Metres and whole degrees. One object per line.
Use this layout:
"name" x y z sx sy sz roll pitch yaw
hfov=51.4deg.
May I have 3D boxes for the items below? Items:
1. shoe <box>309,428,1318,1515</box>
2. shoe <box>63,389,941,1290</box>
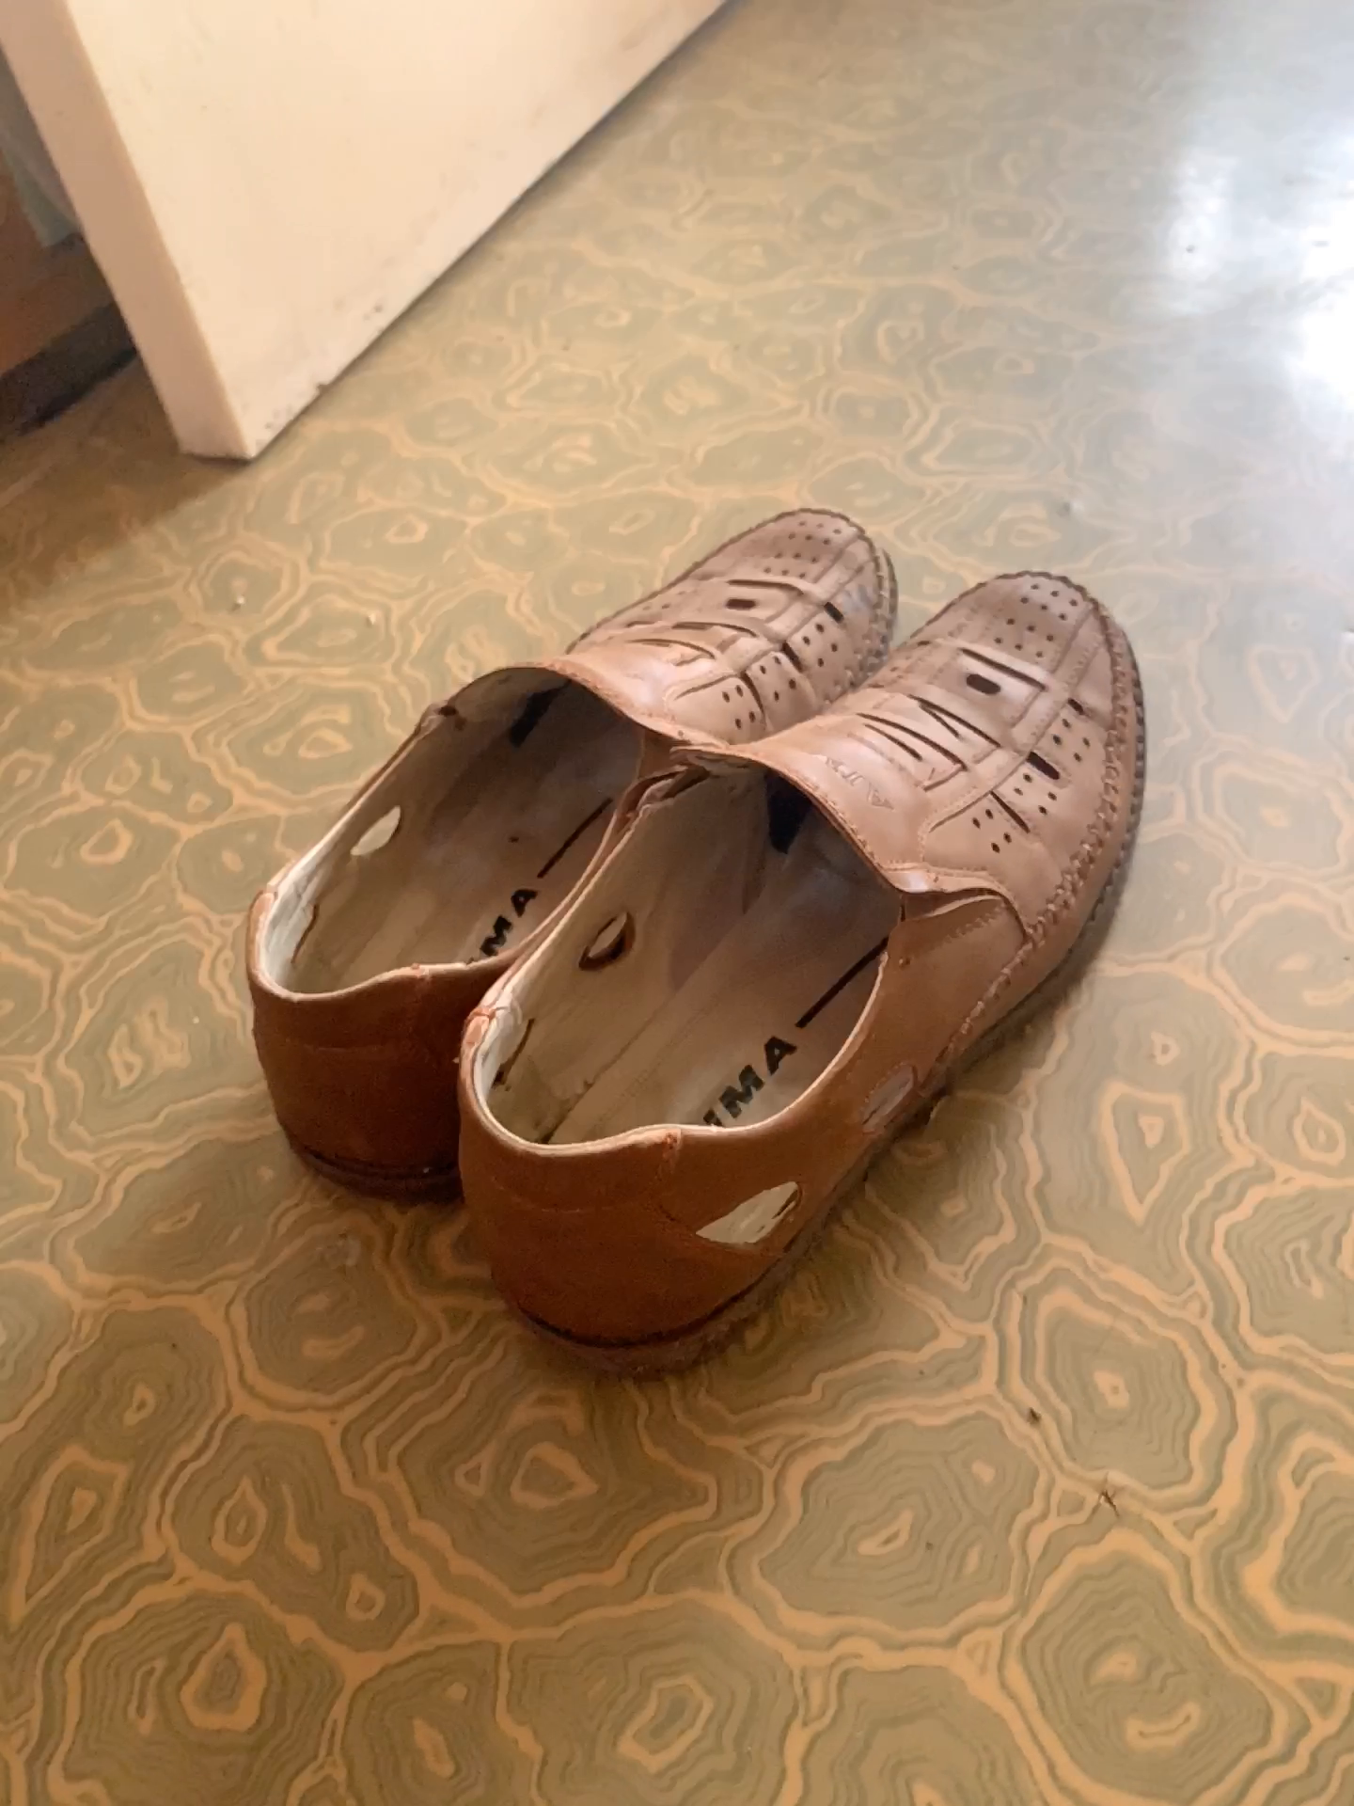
"shoe" 0.055 -0.007 0.377 0.110 0.079 0.291 25 57 28
"shoe" -0.029 -0.041 0.433 0.100 0.079 0.291 22 56 26
